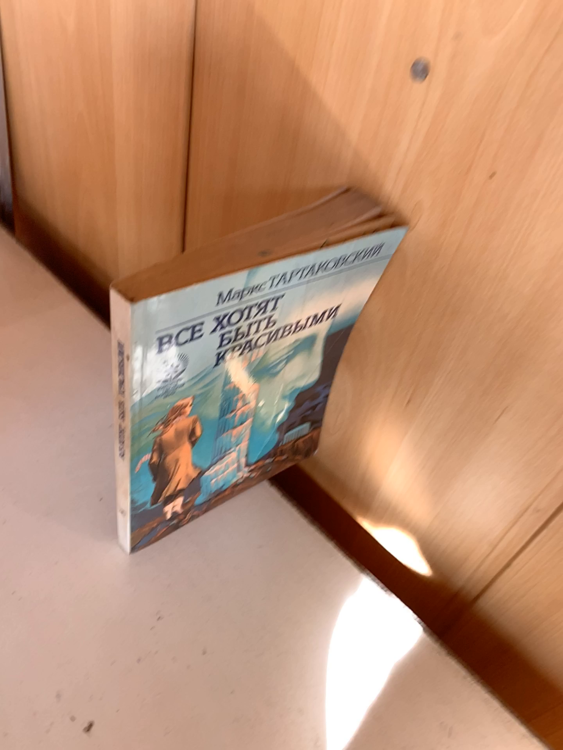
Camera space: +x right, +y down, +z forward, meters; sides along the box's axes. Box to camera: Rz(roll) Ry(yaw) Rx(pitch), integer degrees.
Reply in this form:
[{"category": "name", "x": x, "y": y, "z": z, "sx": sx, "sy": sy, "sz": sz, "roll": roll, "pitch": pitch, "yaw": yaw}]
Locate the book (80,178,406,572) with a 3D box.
[{"category": "book", "x": -0.019, "y": 0.005, "z": 0.260, "sx": 0.125, "sy": 0.158, "sz": 0.029, "roll": -28, "pitch": 58, "yaw": -34}]
